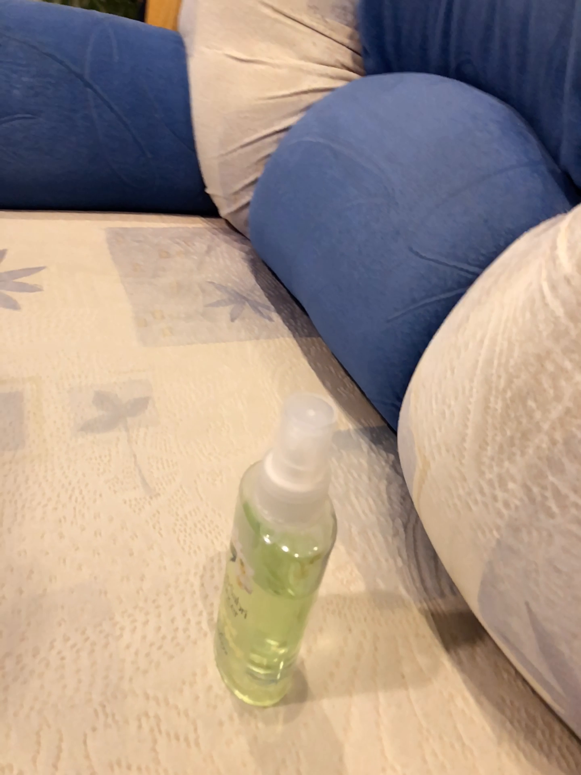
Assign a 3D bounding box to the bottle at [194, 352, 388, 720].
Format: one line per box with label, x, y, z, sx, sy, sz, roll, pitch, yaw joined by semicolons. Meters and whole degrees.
bottle;-0.008;0.065;0.262;0.037;0.149;0.058;-4;37;-23
